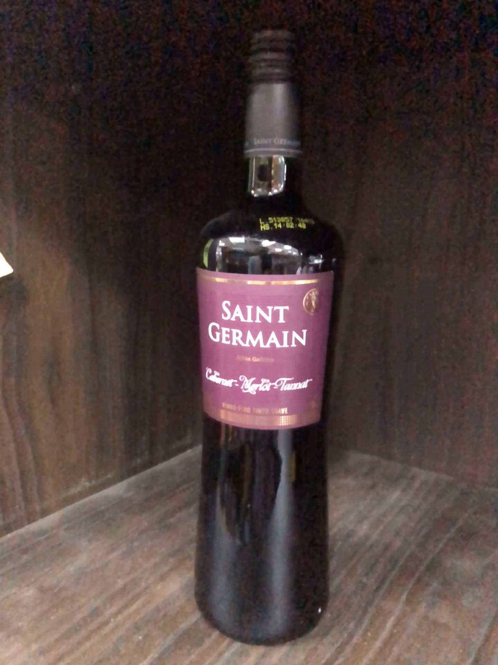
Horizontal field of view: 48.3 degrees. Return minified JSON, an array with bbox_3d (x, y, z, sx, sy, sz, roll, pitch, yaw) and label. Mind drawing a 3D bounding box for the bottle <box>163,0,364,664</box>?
[{"bbox_3d":[0.006,0.003,0.283,0.080,0.309,0.070,2,10,5],"label":"bottle"}]
